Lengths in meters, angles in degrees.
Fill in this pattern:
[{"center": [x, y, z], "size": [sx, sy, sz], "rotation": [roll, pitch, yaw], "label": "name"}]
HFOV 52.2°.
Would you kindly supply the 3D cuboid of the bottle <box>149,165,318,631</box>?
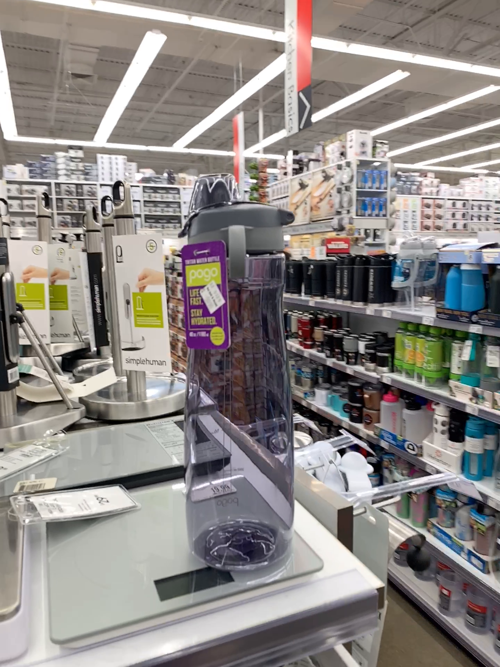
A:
[{"center": [-0.016, 0.041, 0.392], "size": [0.100, 0.309, 0.100], "rotation": [-1, 8, 0], "label": "bottle"}]
